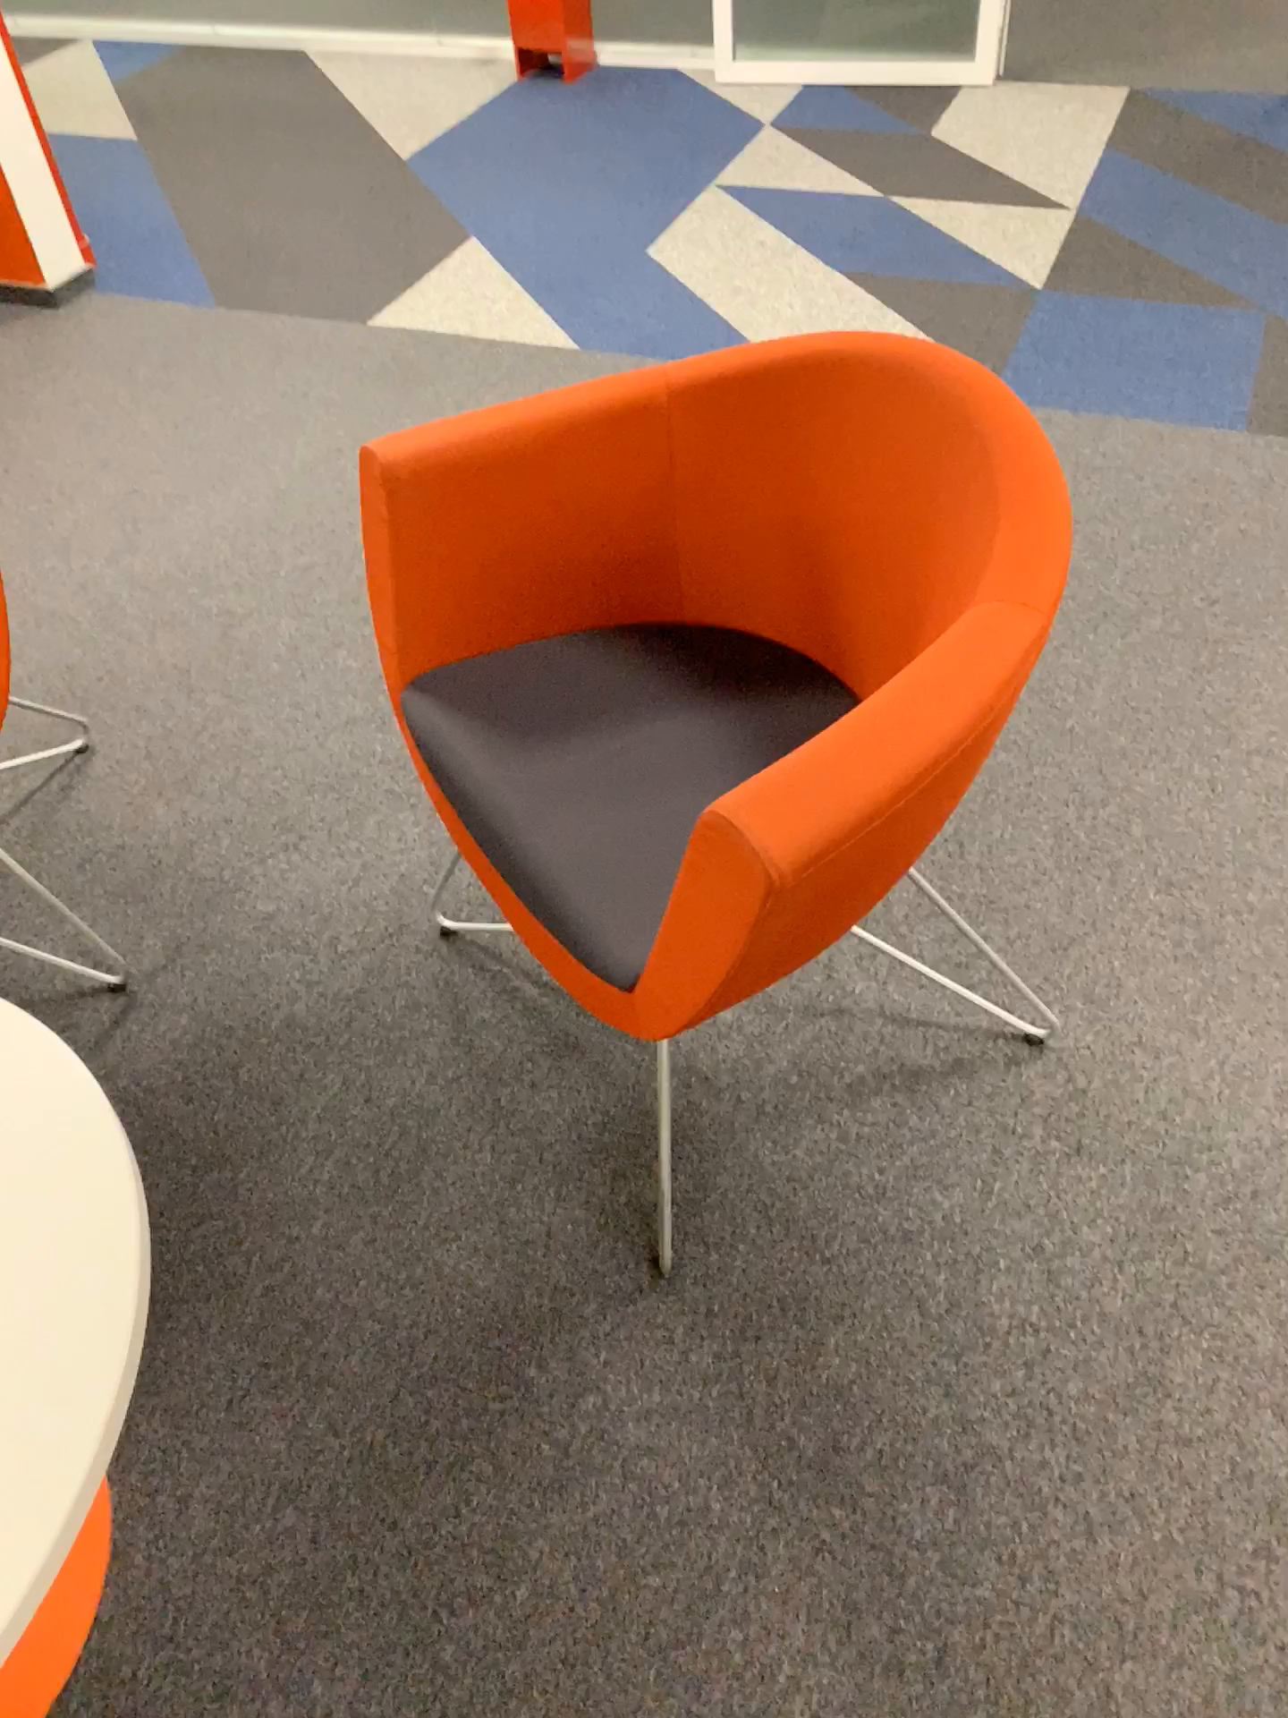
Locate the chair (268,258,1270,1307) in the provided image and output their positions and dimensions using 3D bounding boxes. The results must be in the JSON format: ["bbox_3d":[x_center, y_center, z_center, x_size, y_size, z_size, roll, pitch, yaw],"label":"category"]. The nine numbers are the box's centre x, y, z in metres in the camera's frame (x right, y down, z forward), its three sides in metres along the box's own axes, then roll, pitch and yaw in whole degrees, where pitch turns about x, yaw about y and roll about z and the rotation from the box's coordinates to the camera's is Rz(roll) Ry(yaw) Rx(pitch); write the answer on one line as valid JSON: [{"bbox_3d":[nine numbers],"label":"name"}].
[{"bbox_3d":[0.094,-0.100,1.399,0.621,0.706,0.642,-25,49,-18],"label":"chair"}]
